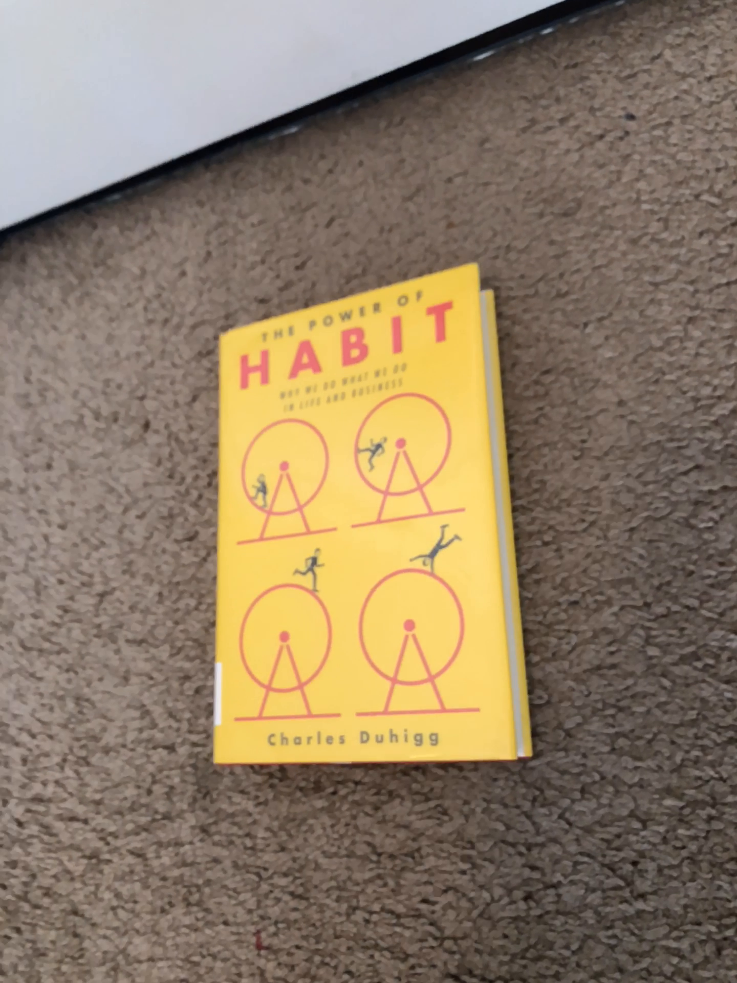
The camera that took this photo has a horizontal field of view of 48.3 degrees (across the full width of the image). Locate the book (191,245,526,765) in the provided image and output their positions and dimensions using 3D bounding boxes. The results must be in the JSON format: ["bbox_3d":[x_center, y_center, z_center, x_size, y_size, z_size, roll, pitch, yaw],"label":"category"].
[{"bbox_3d":[-0.012,0.012,0.437,0.164,0.040,0.251,-10,72,26],"label":"book"}]
